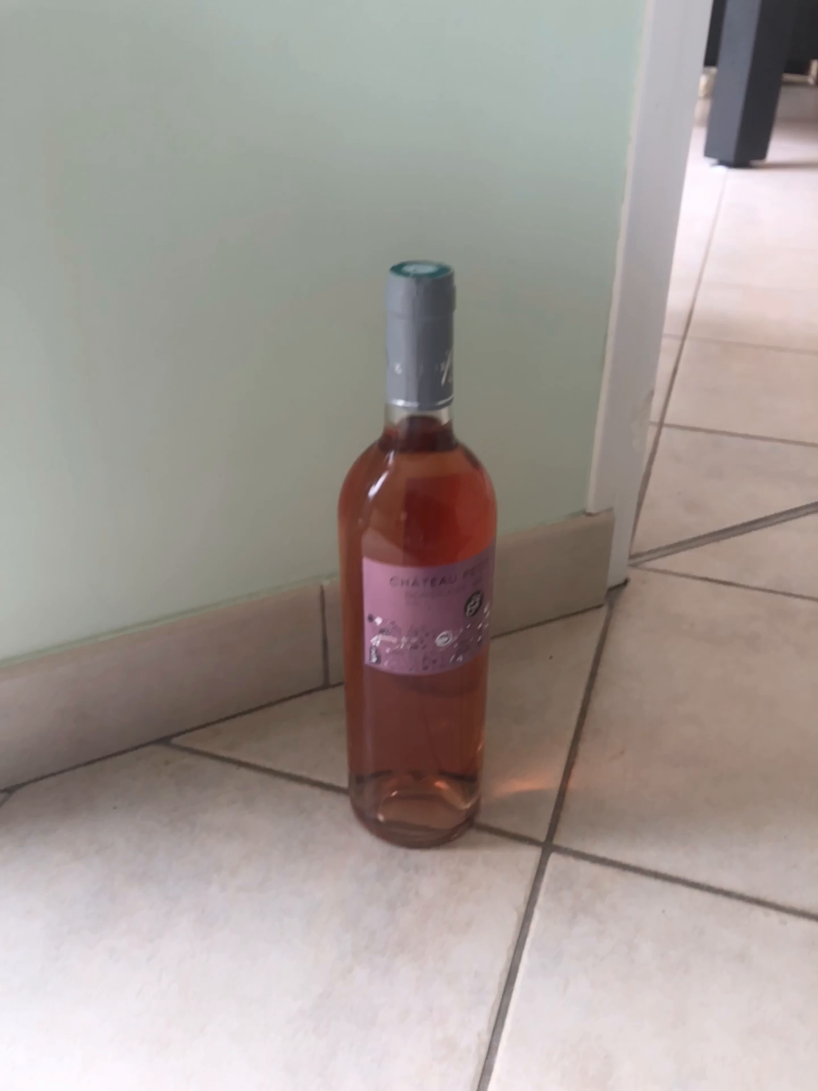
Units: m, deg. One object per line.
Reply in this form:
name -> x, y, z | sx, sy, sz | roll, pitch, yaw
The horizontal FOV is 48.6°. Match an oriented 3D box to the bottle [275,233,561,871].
bottle -> 0.006, 0.011, 0.437 | 0.090, 0.288, 0.091 | 0, 31, 0
